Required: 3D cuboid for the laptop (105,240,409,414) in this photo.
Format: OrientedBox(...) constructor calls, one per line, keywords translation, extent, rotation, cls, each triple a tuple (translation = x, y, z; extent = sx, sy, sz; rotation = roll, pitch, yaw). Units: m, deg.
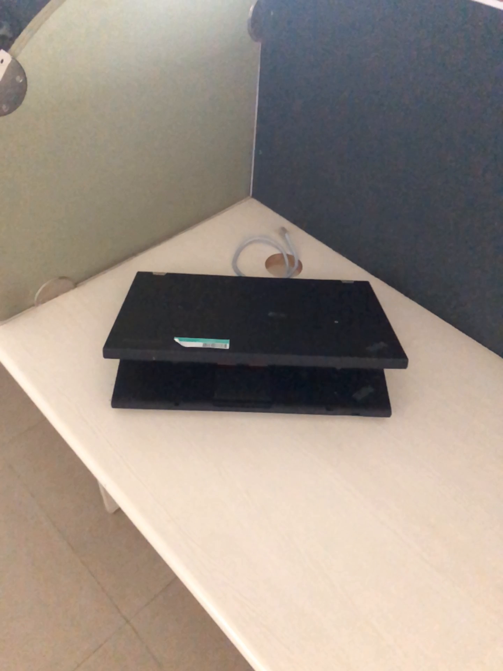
OrientedBox(translation=(0.007, -0.019, 0.767), extent=(0.363, 0.077, 0.236), rotation=(2, 48, -2), cls="laptop")
